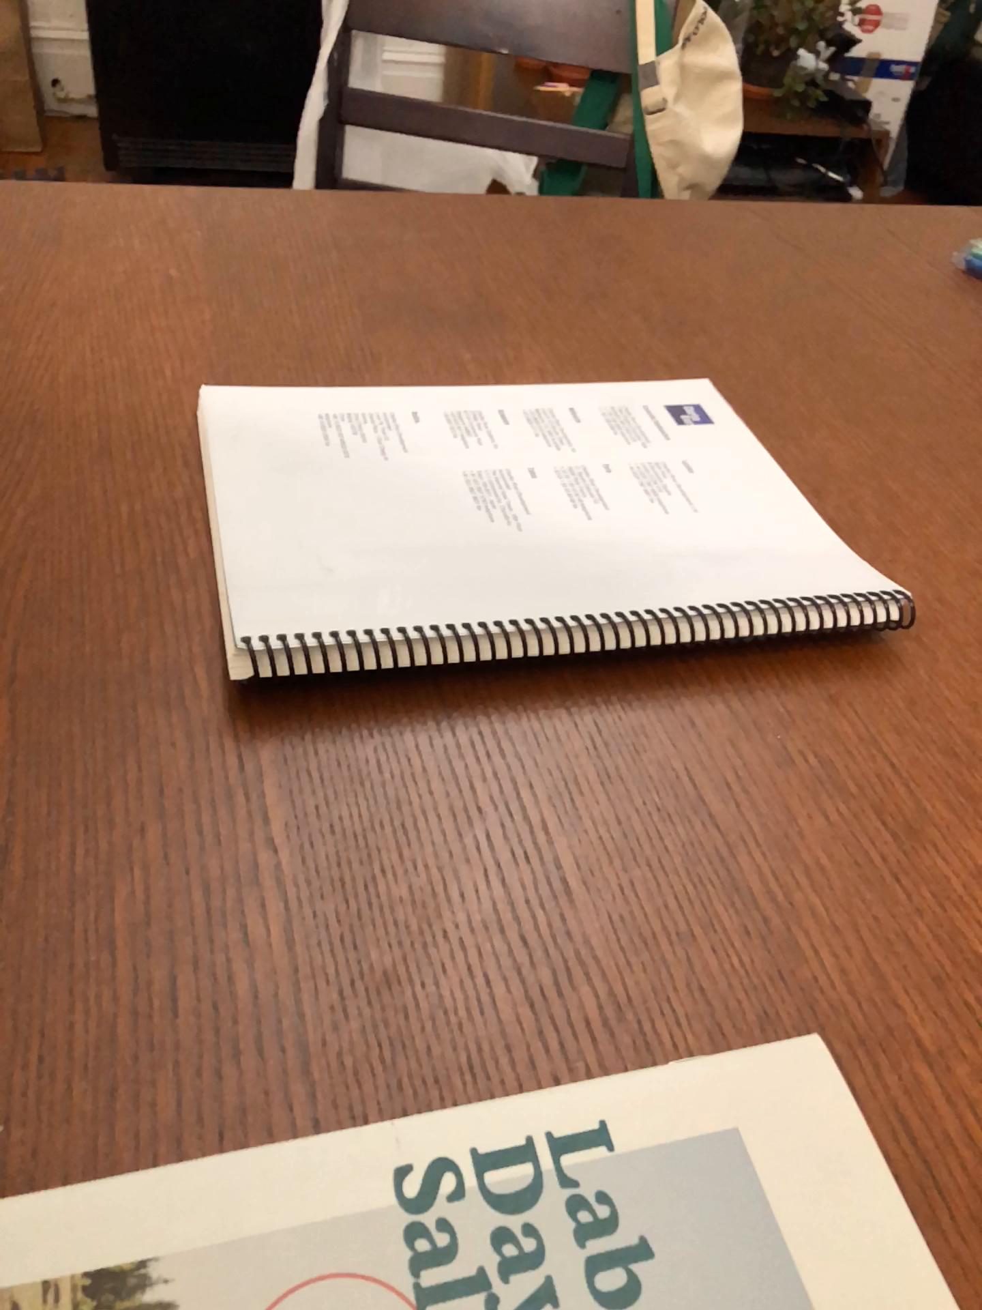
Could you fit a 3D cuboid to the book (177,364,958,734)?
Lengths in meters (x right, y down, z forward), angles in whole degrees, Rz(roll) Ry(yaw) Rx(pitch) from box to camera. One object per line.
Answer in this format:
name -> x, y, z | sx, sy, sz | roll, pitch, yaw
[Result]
book -> 0.018, -0.068, 0.497 | 0.300, 0.020, 0.231 | -5, 42, -15
